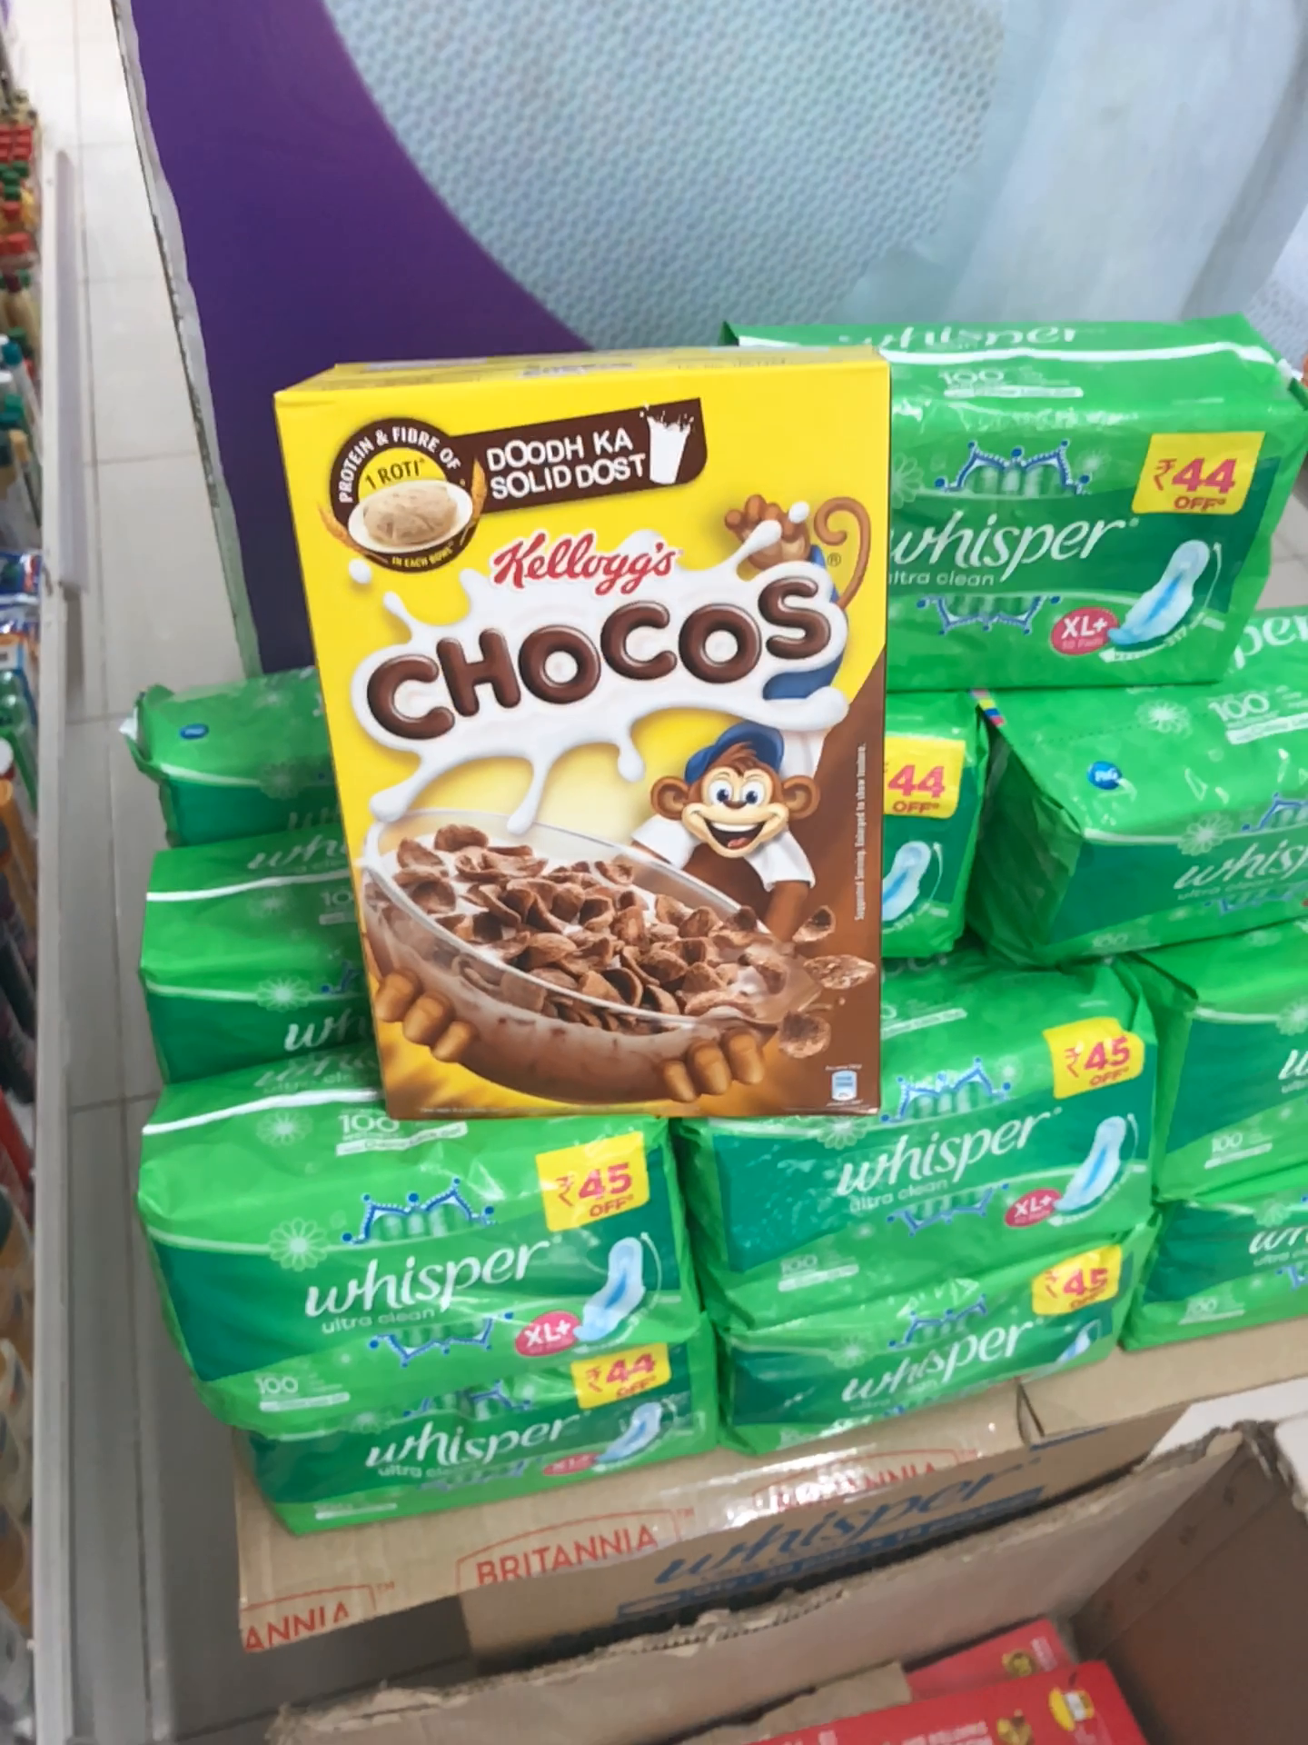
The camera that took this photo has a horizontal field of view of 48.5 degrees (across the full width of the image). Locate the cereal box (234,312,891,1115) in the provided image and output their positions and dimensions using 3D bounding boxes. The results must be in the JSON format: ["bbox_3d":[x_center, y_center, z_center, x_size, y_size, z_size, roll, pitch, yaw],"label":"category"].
[{"bbox_3d":[-0.018,-0.048,0.506,0.190,0.259,0.080,-1,25,5],"label":"cereal box"}]
